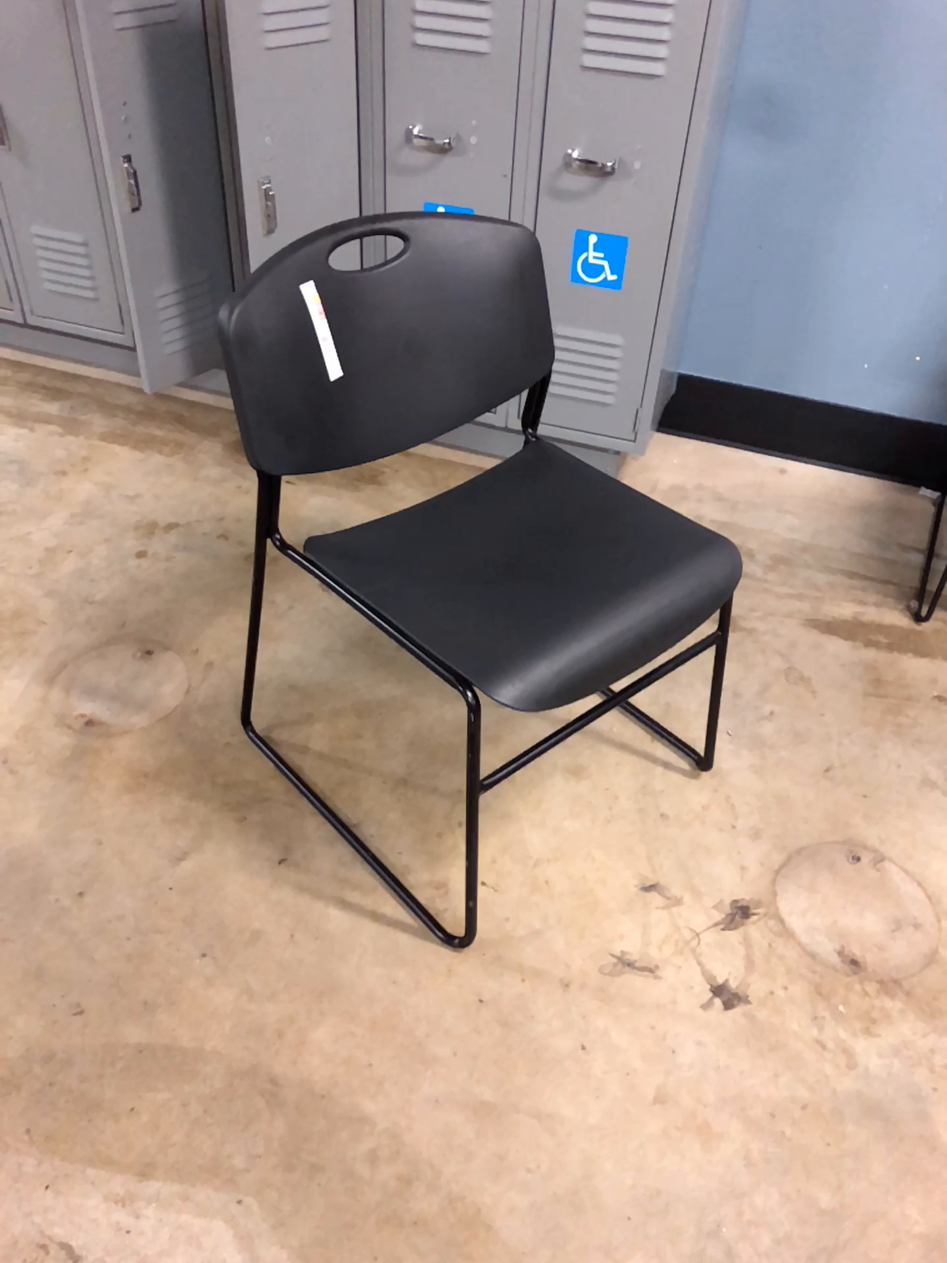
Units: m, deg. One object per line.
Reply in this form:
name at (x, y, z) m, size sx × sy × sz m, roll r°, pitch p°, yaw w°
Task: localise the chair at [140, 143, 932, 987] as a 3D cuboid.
chair at (0.042, -0.105, 1.234) m, size 0.545 × 0.665 × 0.548 m, roll -30°, pitch 52°, yaw -32°
